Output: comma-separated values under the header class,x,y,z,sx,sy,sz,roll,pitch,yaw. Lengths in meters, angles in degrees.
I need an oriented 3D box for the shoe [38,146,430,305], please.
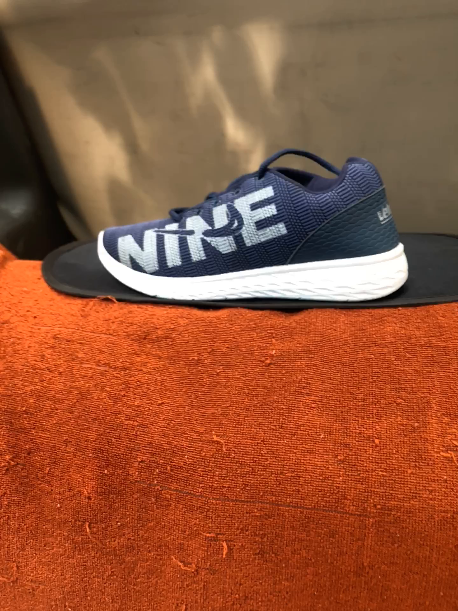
class,x,y,z,sx,sy,sz,roll,pitch,yaw
shoe,0.010,-0.070,0.435,0.290,0.100,0.131,1,18,17
